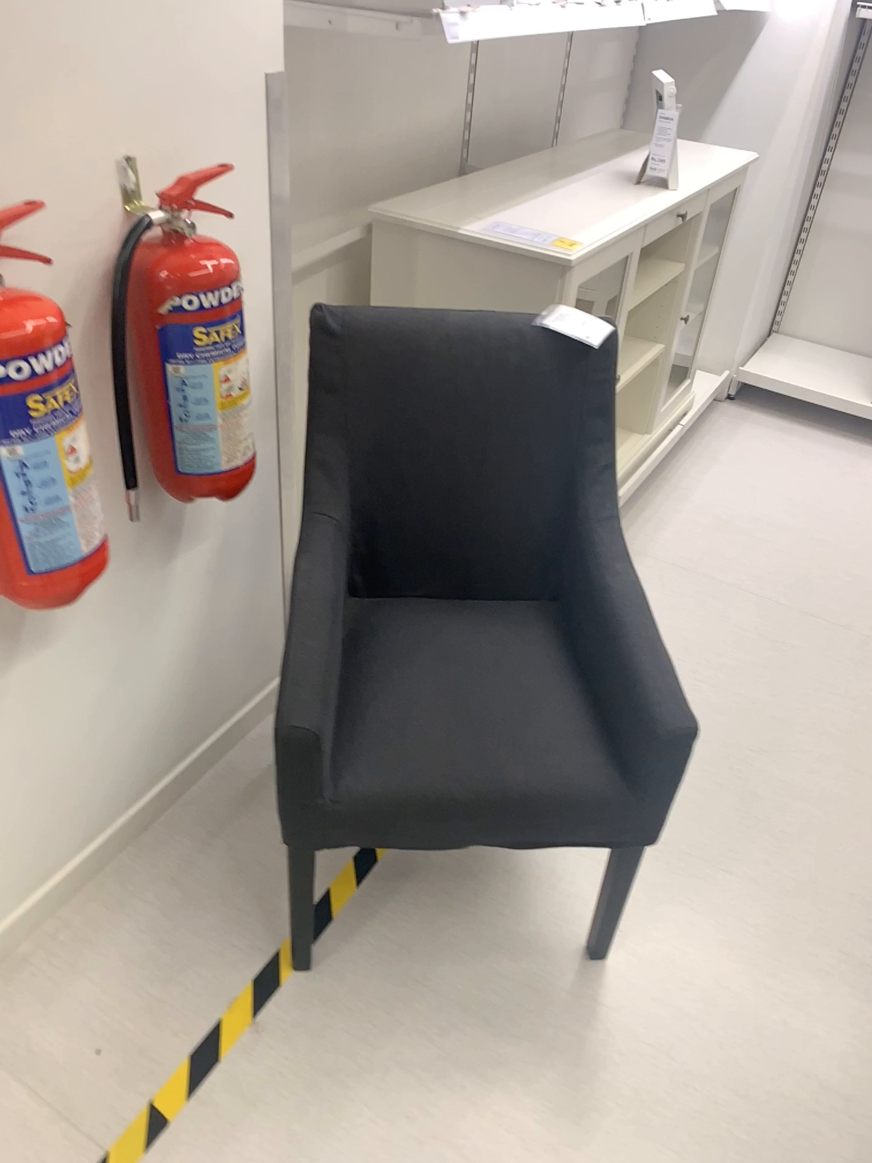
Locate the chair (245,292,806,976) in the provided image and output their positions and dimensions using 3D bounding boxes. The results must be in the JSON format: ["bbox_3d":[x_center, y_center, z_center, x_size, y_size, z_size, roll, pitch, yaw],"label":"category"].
[{"bbox_3d":[0.050,0.098,1.473,0.610,0.916,0.632,1,36,-6],"label":"chair"}]
